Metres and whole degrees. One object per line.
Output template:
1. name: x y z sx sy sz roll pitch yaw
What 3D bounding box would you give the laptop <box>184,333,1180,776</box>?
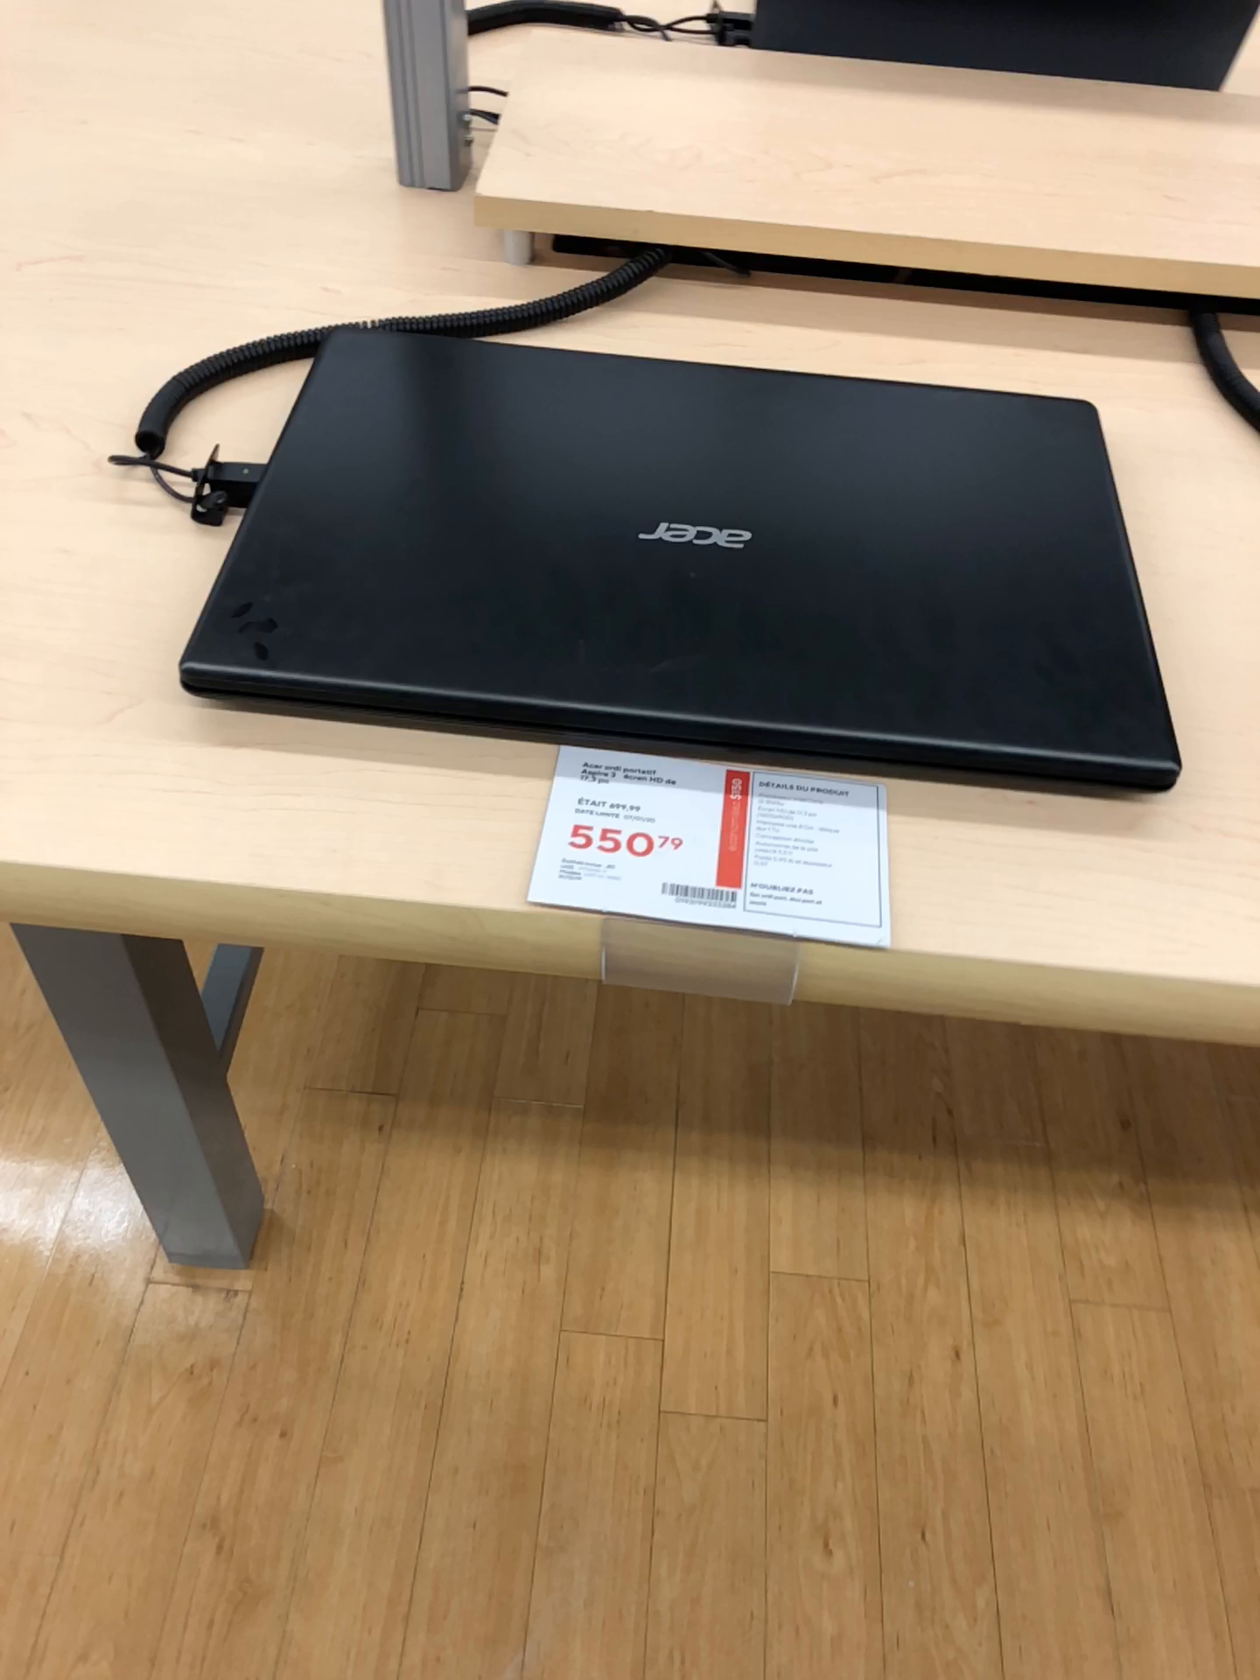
1. laptop: 0.030 -0.151 0.661 0.416 0.001 0.268 6 50 1
